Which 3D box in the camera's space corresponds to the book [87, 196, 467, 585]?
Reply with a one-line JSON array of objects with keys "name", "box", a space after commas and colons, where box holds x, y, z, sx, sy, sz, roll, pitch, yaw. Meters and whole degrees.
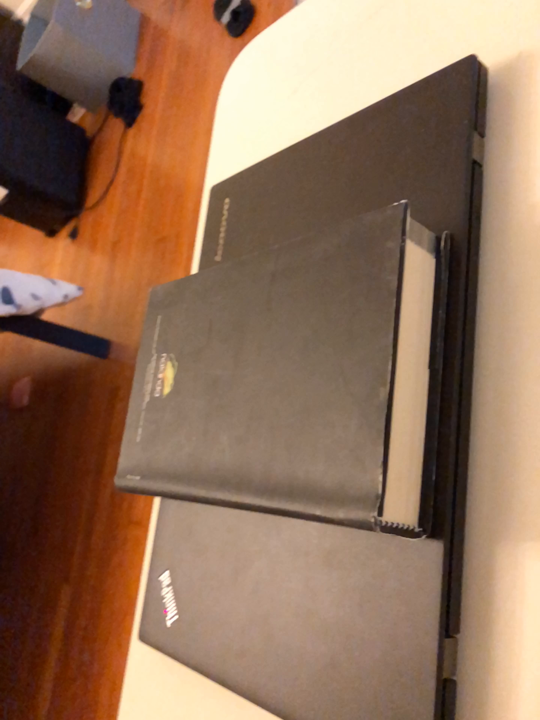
[{"name": "book", "box": [-0.014, 0.019, 0.324, 0.231, 0.040, 0.150, -6, 71, 47]}]
